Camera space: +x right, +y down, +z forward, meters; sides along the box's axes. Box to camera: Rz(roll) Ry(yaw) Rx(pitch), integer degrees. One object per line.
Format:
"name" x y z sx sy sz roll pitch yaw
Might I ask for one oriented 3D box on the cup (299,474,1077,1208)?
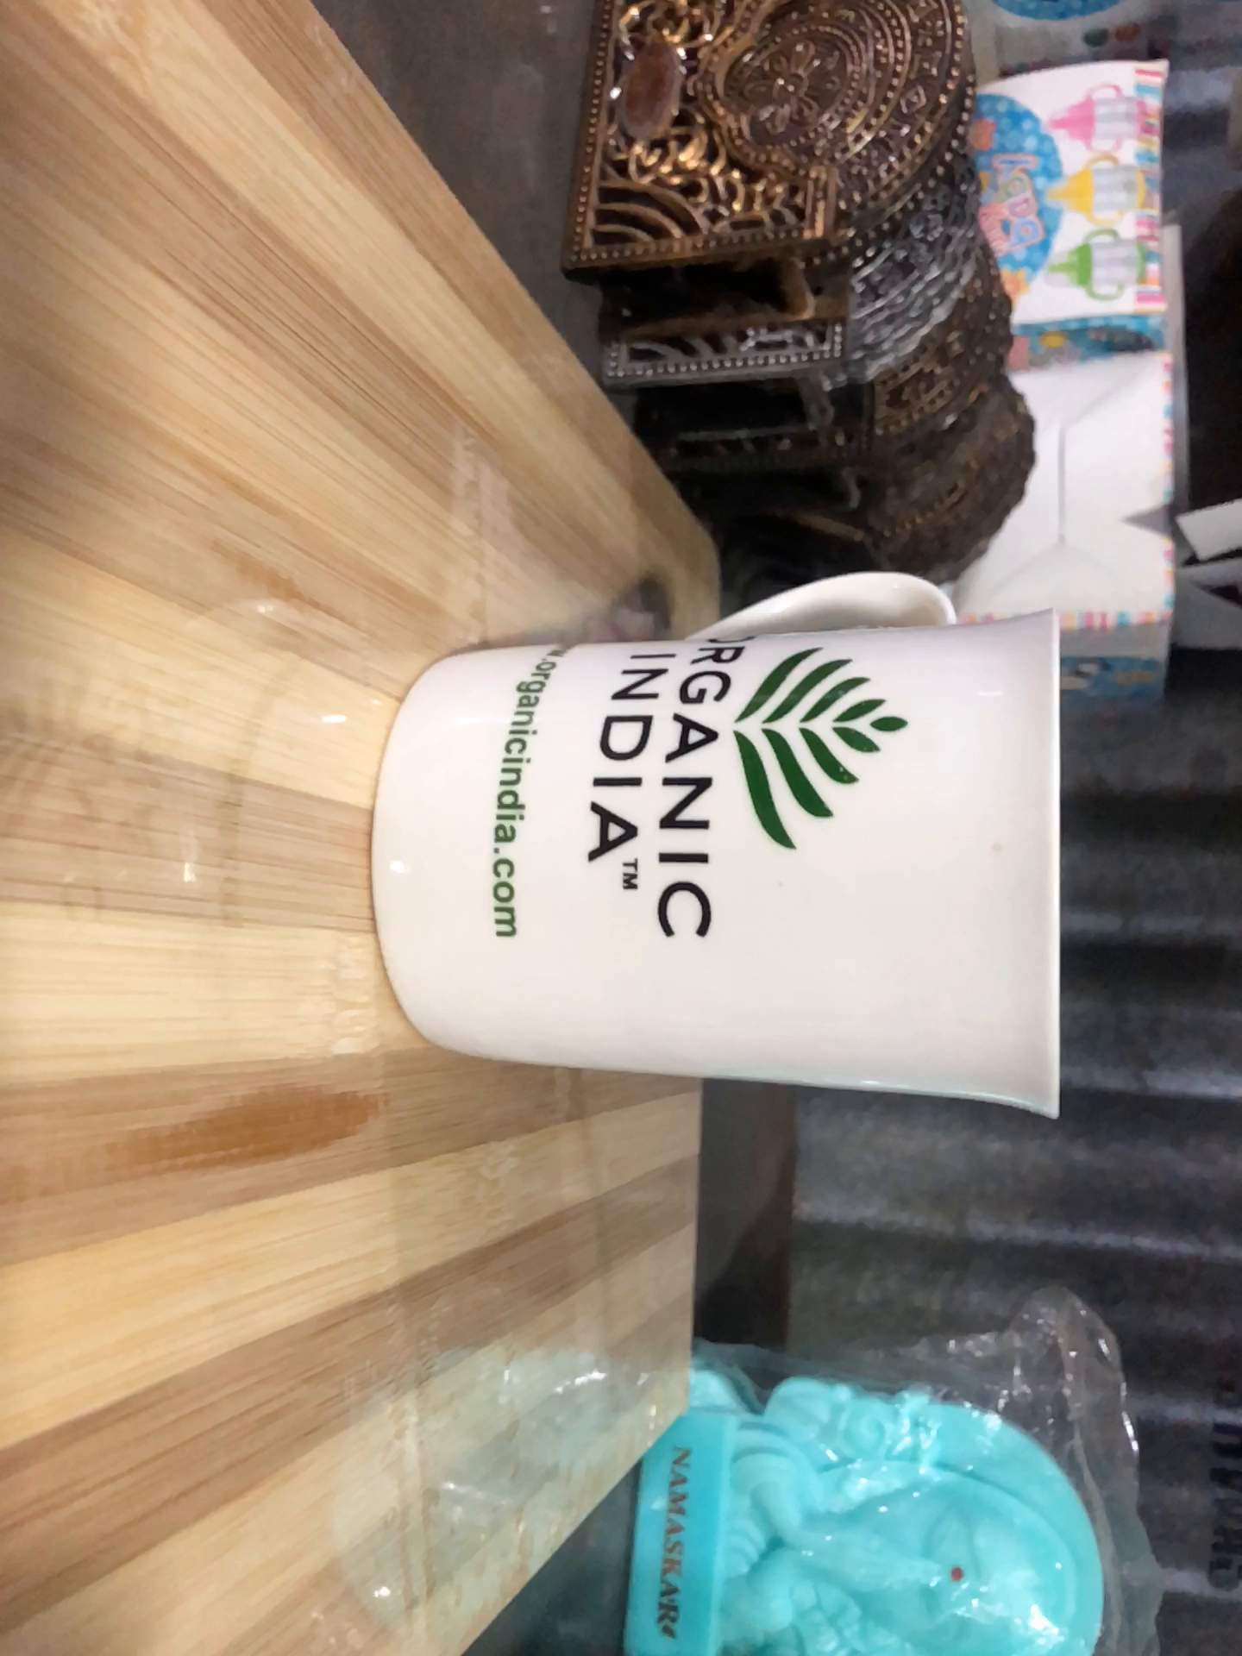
"cup" 0.022 0.002 0.246 0.070 0.109 0.100 69 27 -53
